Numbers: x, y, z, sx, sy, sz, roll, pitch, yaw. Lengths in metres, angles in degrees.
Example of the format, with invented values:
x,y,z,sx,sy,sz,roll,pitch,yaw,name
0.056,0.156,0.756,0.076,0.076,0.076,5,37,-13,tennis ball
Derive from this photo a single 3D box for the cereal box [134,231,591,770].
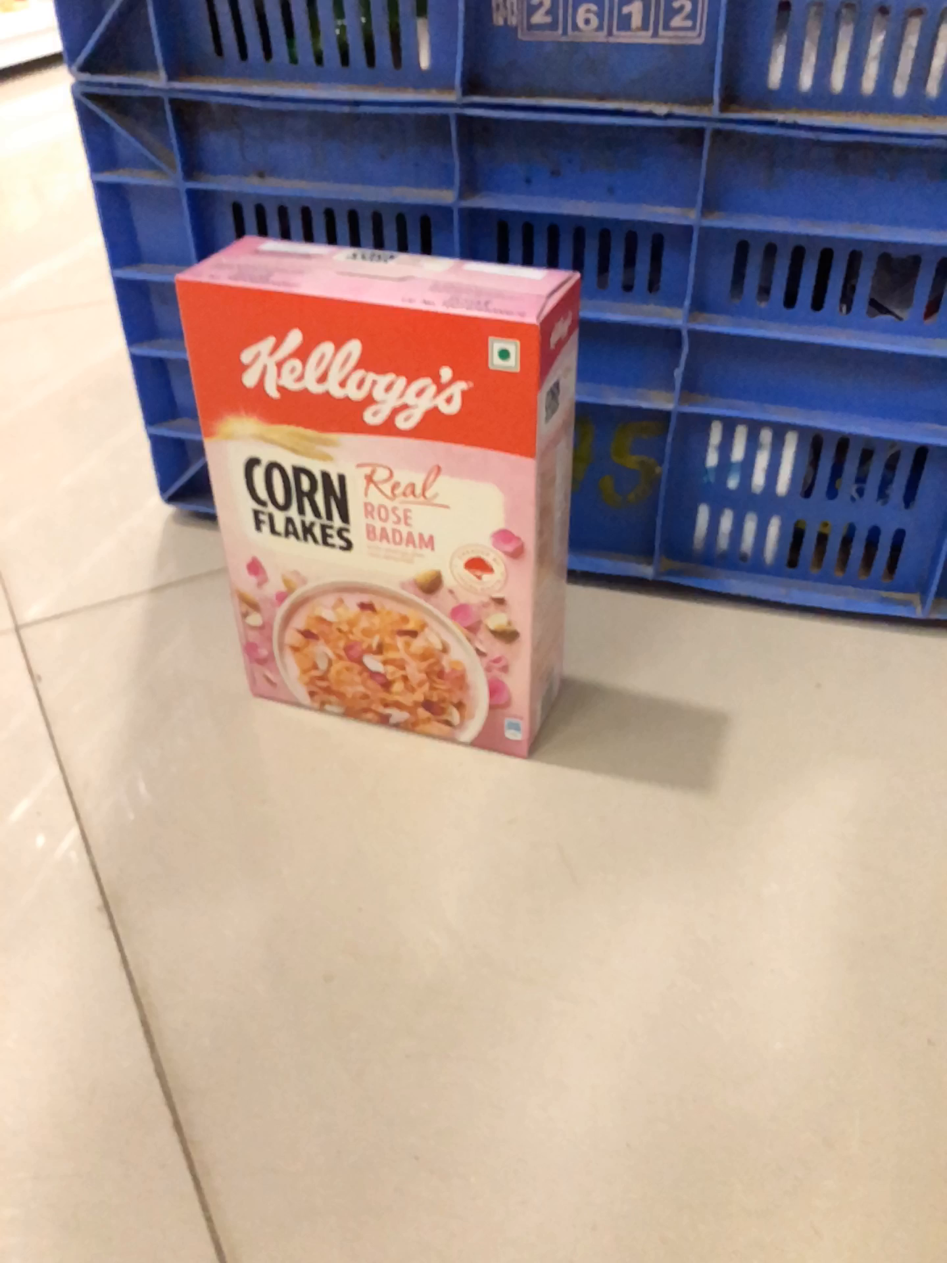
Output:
x,y,z,sx,sy,sz,roll,pitch,yaw,name
-0.050,-0.064,0.566,0.200,0.258,0.071,11,39,15,cereal box
